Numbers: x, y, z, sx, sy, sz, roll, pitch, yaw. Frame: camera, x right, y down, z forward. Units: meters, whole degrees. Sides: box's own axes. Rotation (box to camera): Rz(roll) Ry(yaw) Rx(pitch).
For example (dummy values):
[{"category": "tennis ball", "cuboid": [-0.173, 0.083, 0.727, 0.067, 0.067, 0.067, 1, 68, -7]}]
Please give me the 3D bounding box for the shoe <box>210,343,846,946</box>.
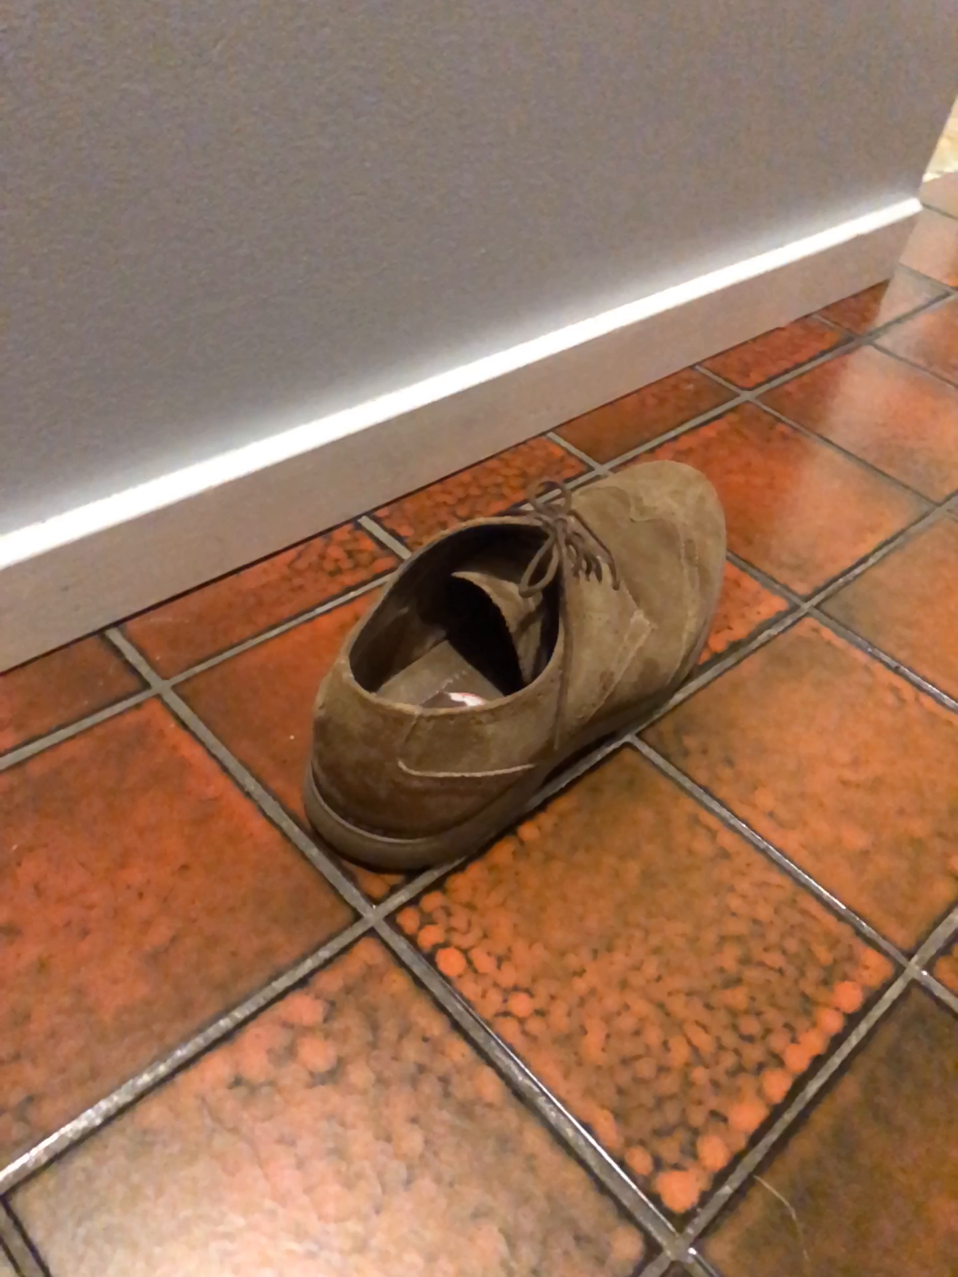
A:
[{"category": "shoe", "cuboid": [0.035, -0.020, 0.488, 0.120, 0.100, 0.301, 34, 48, 22]}]
